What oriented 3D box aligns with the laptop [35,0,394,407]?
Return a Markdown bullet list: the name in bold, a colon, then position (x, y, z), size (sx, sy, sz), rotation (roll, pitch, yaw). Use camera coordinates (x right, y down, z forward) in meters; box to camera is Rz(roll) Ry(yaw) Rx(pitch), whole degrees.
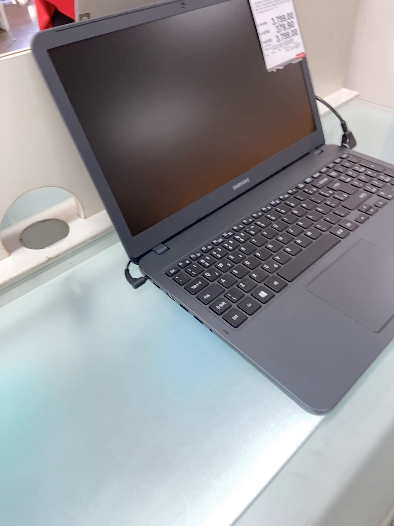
- **laptop**: position (0.110, -0.135, 0.423), size (0.364, 0.208, 0.342), rotation (-34, 50, -28)
